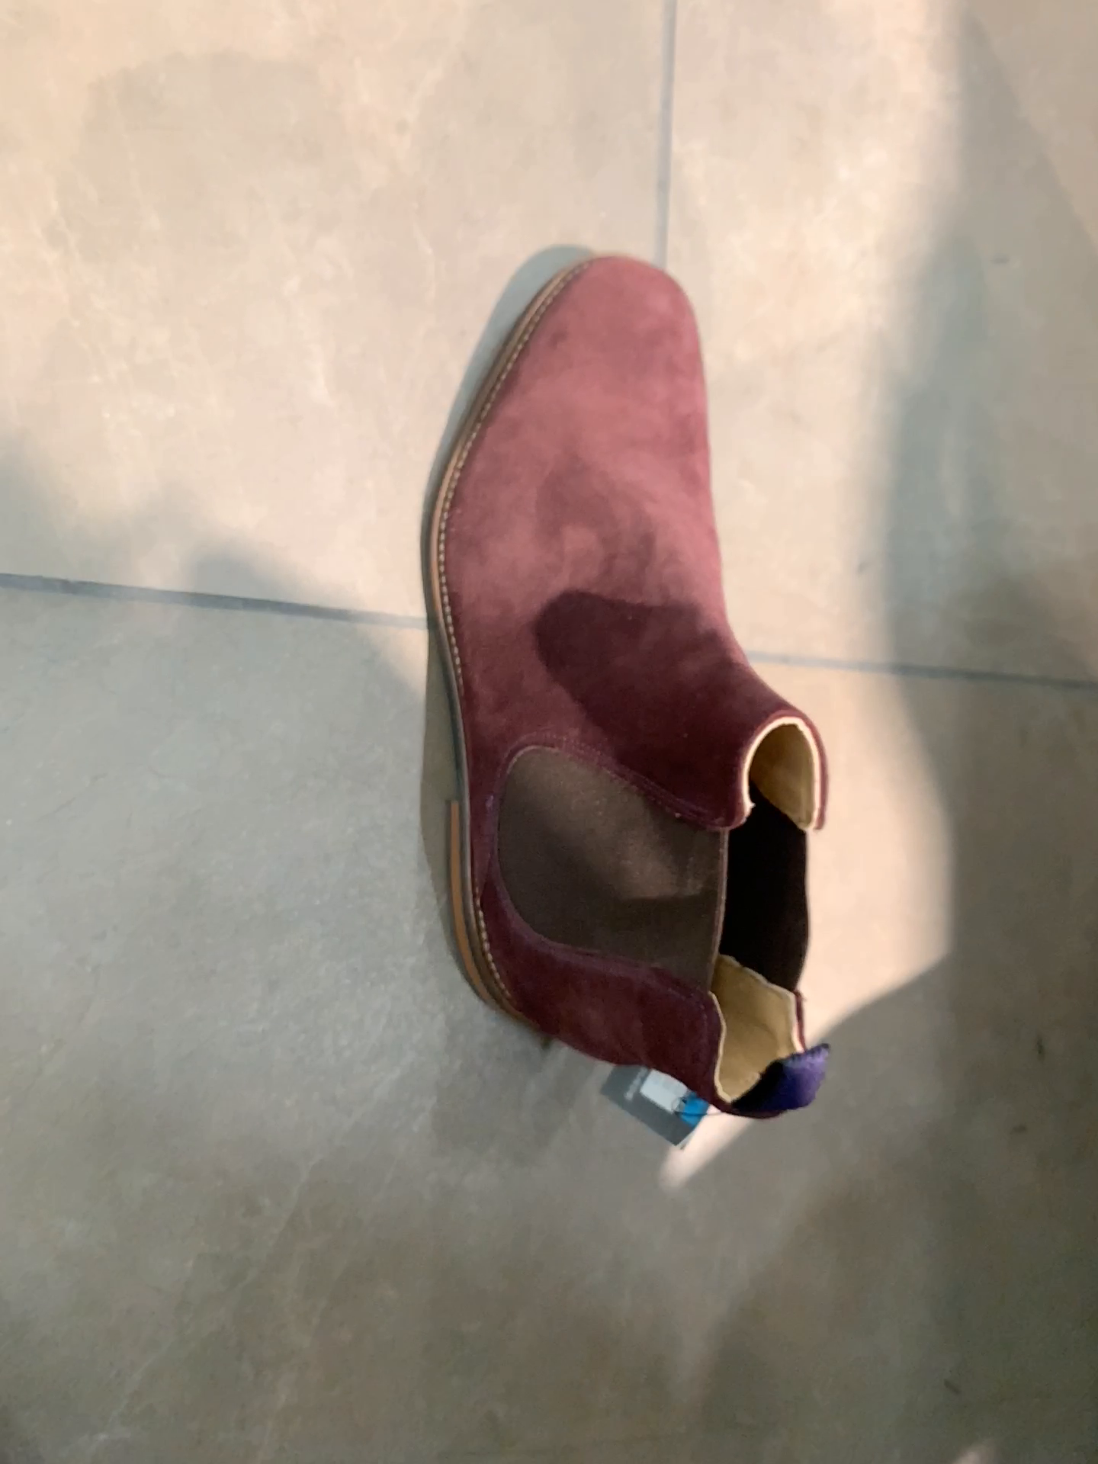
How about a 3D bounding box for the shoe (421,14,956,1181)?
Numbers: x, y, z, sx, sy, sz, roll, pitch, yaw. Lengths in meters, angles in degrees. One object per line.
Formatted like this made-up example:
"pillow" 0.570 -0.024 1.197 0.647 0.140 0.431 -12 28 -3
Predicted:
"shoe" 0.035 -0.033 0.383 0.114 0.162 0.297 2 87 -21
